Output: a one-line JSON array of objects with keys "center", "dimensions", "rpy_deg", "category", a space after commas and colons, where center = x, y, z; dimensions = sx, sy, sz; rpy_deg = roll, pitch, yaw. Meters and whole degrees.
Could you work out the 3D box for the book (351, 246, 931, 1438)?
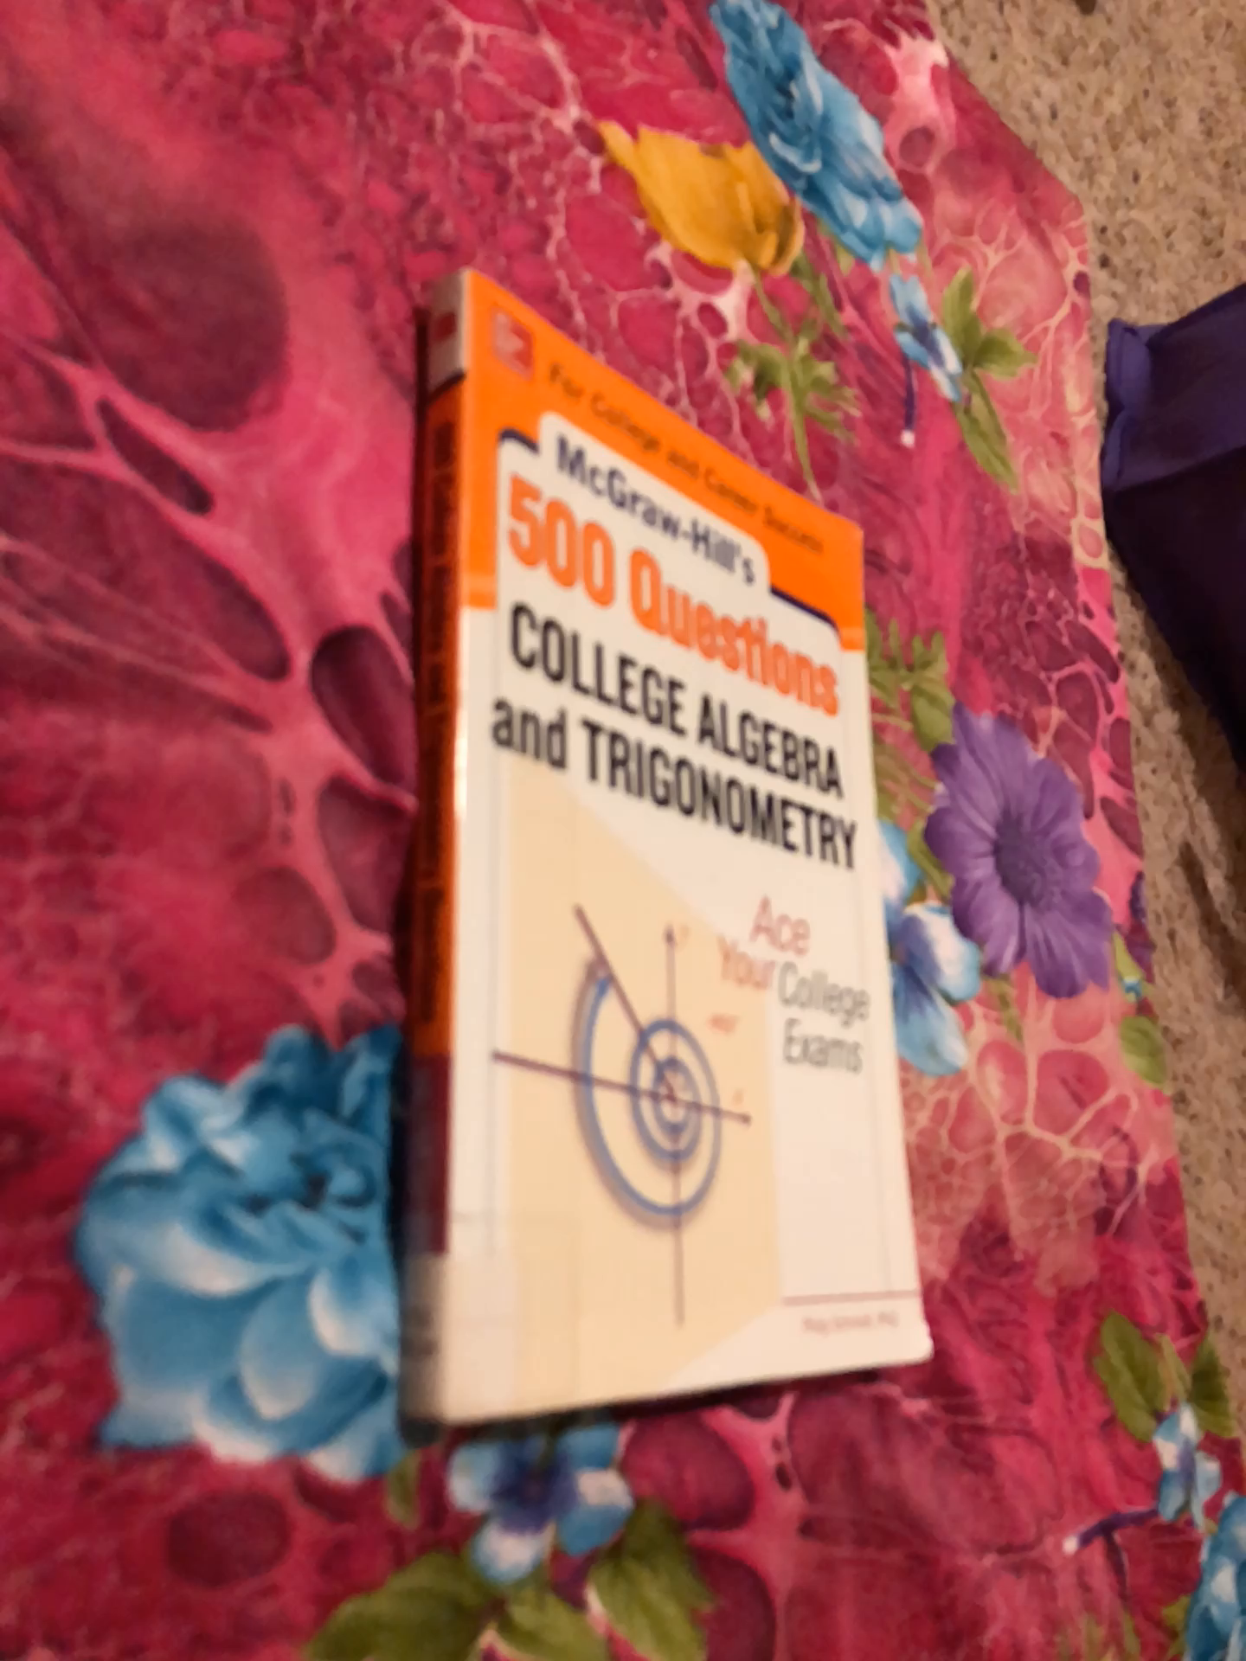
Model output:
[{"center": [0.014, 0.007, 0.305], "dimensions": [0.157, 0.022, 0.220], "rpy_deg": [18, 65, -47], "category": "book"}]
